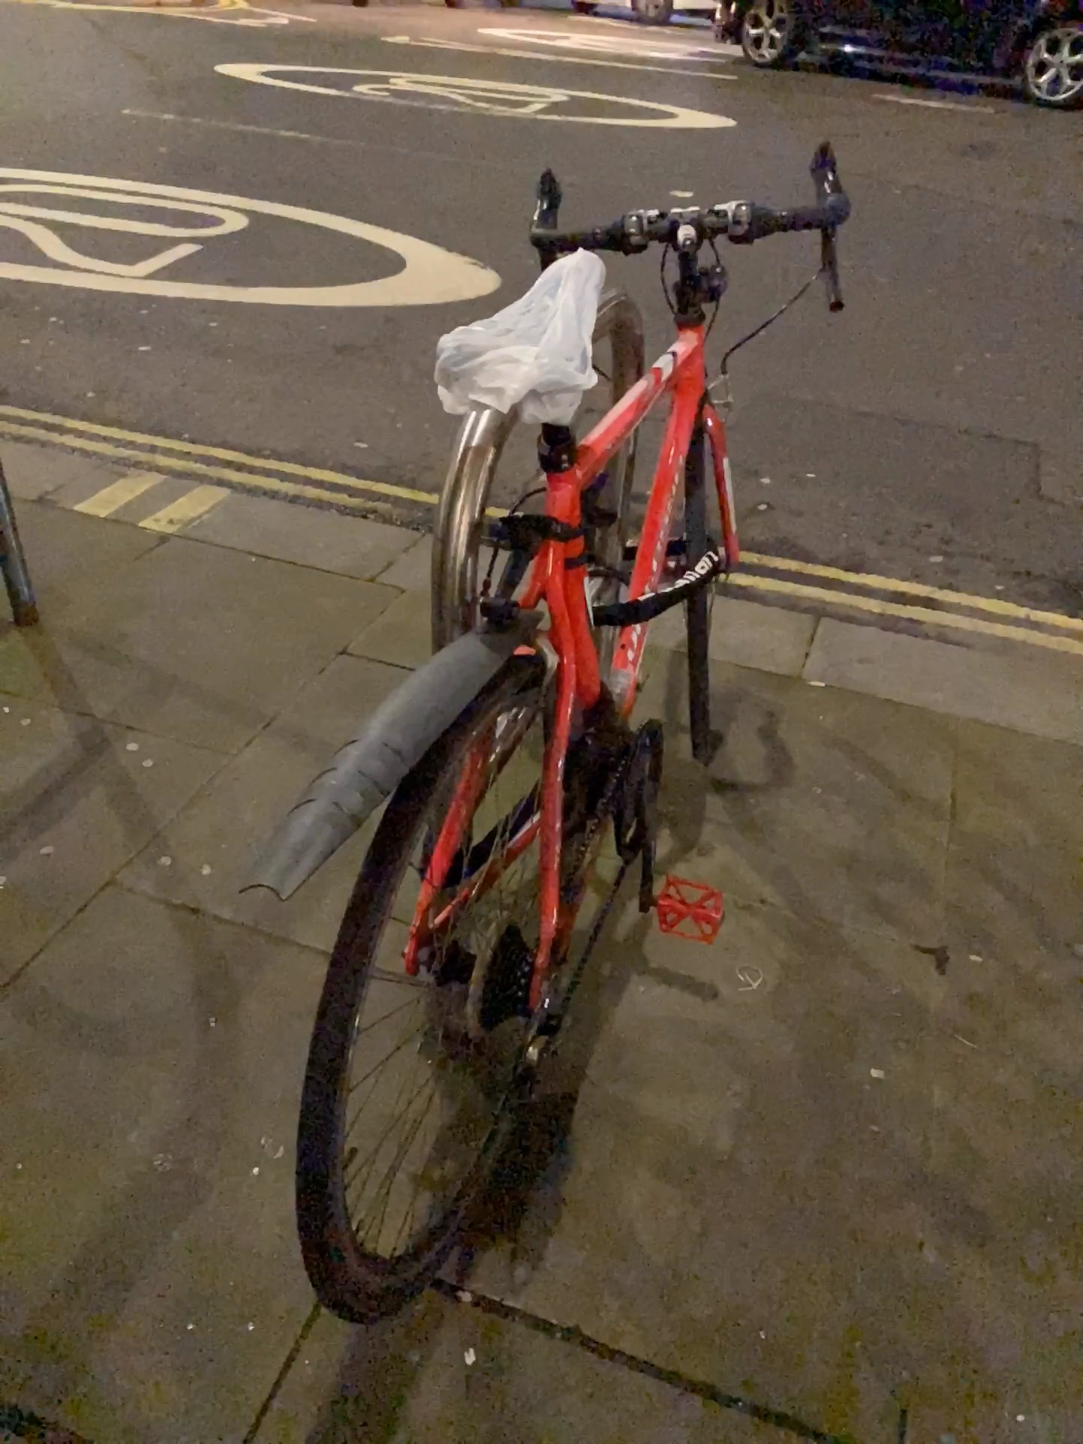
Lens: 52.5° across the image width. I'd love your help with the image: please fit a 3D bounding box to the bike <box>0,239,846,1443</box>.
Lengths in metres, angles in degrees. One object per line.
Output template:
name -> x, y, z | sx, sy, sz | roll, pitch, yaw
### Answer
bike -> 0.025, -0.080, 1.597 | 0.537, 0.809, 1.670 | 12, 36, 13
